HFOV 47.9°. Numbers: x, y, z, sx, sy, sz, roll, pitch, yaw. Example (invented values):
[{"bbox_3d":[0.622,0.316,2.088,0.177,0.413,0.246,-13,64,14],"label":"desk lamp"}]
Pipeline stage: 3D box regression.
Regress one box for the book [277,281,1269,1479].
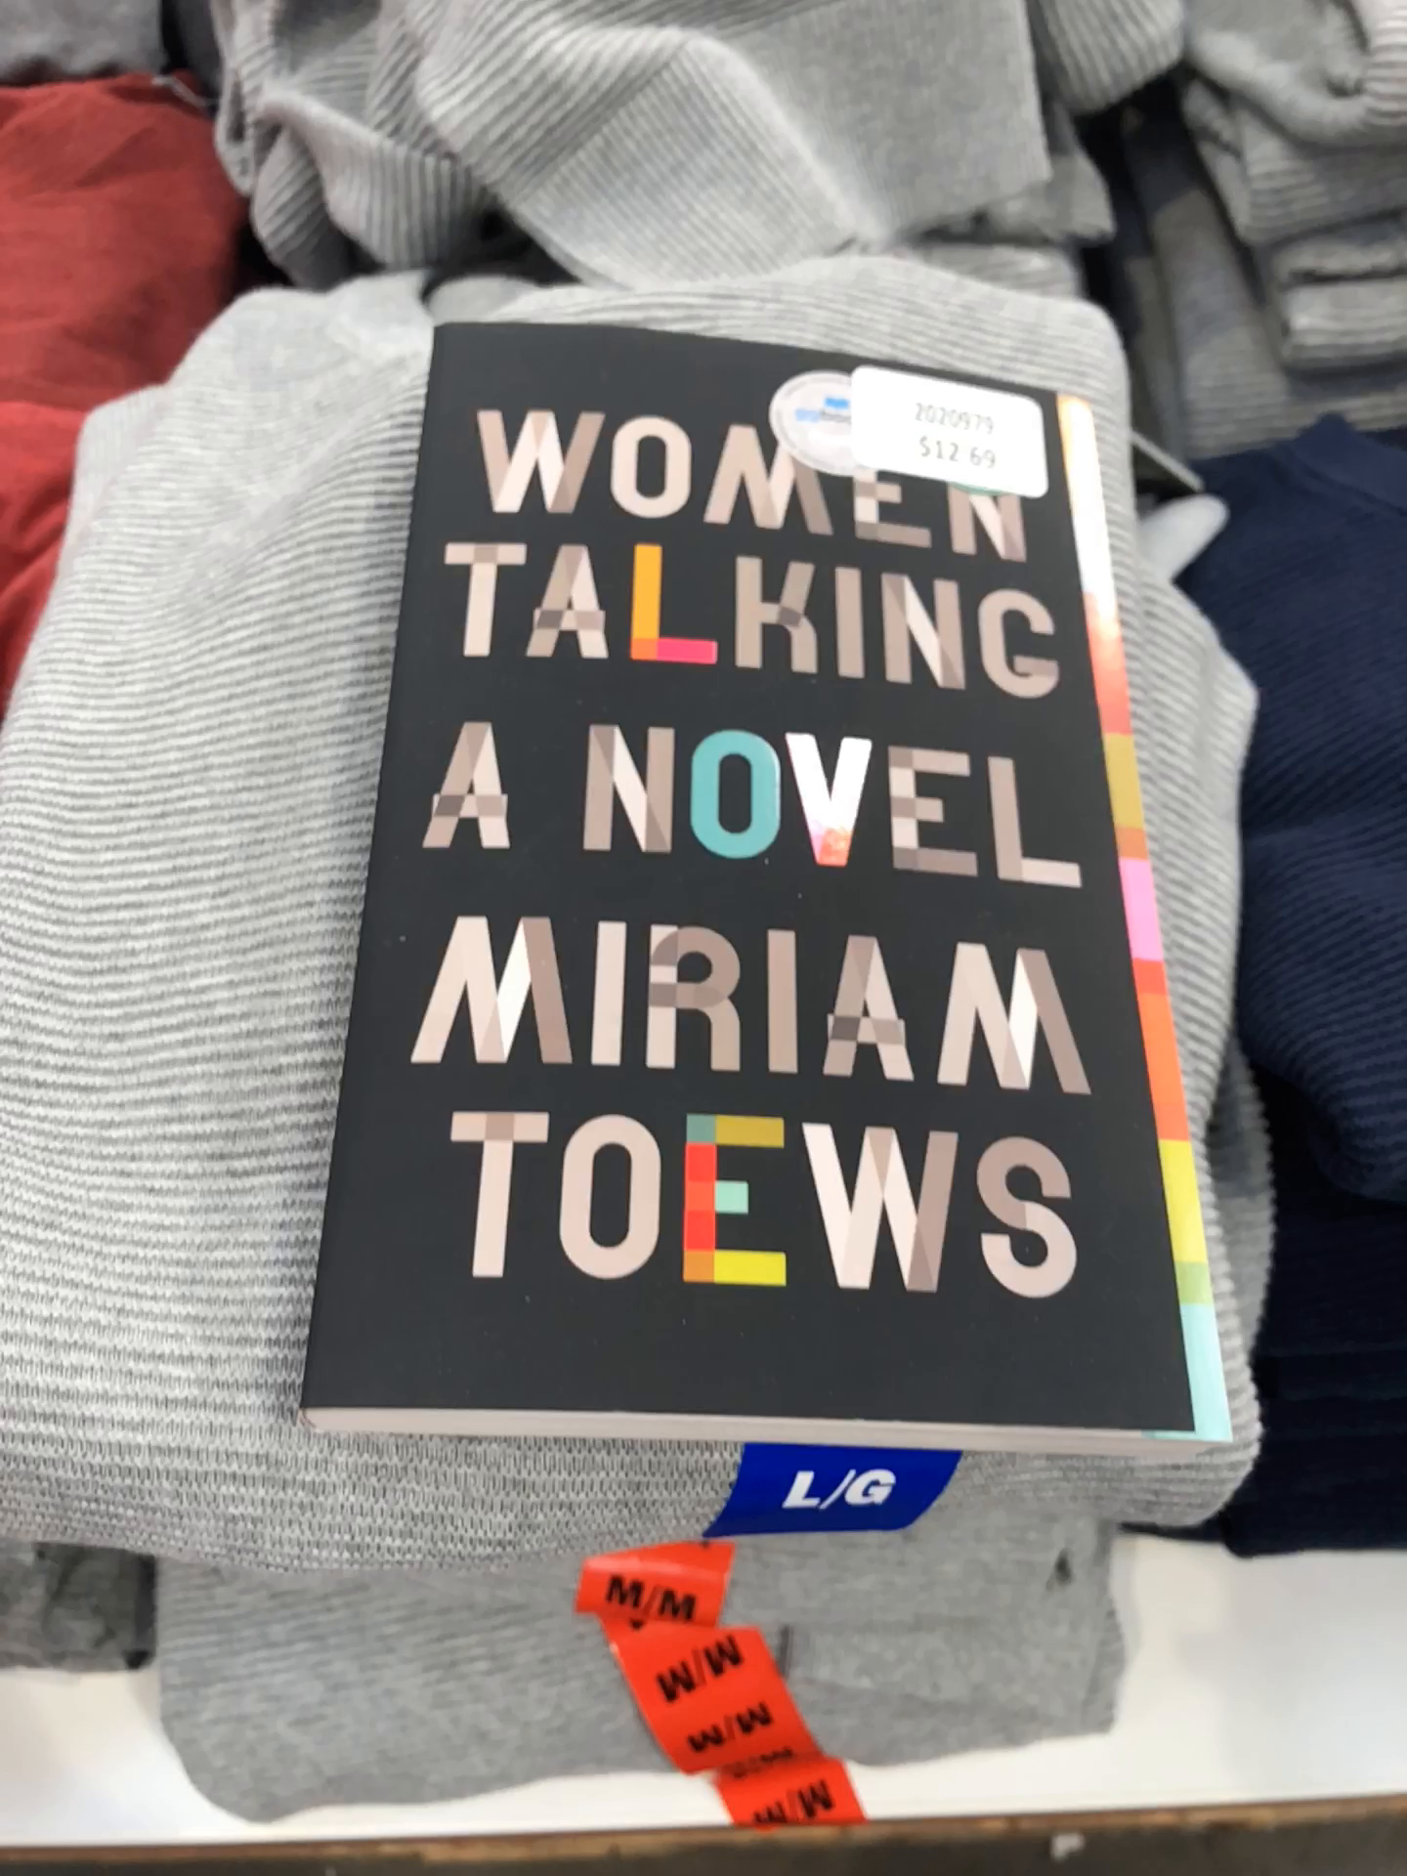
[{"bbox_3d":[0.012,-0.022,0.269,0.135,0.020,0.211,3,64,-5],"label":"book"}]
